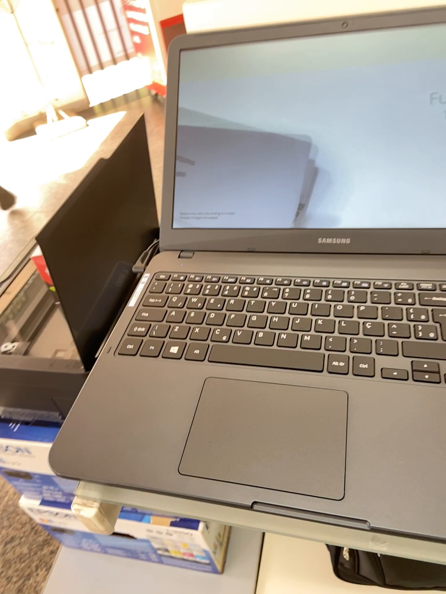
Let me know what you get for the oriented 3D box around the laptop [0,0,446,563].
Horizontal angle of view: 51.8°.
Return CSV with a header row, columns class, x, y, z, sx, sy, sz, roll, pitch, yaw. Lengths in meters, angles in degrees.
class,x,y,z,sx,sy,sz,roll,pitch,yaw
laptop,0.086,-0.075,0.365,0.367,0.157,0.413,2,45,16
